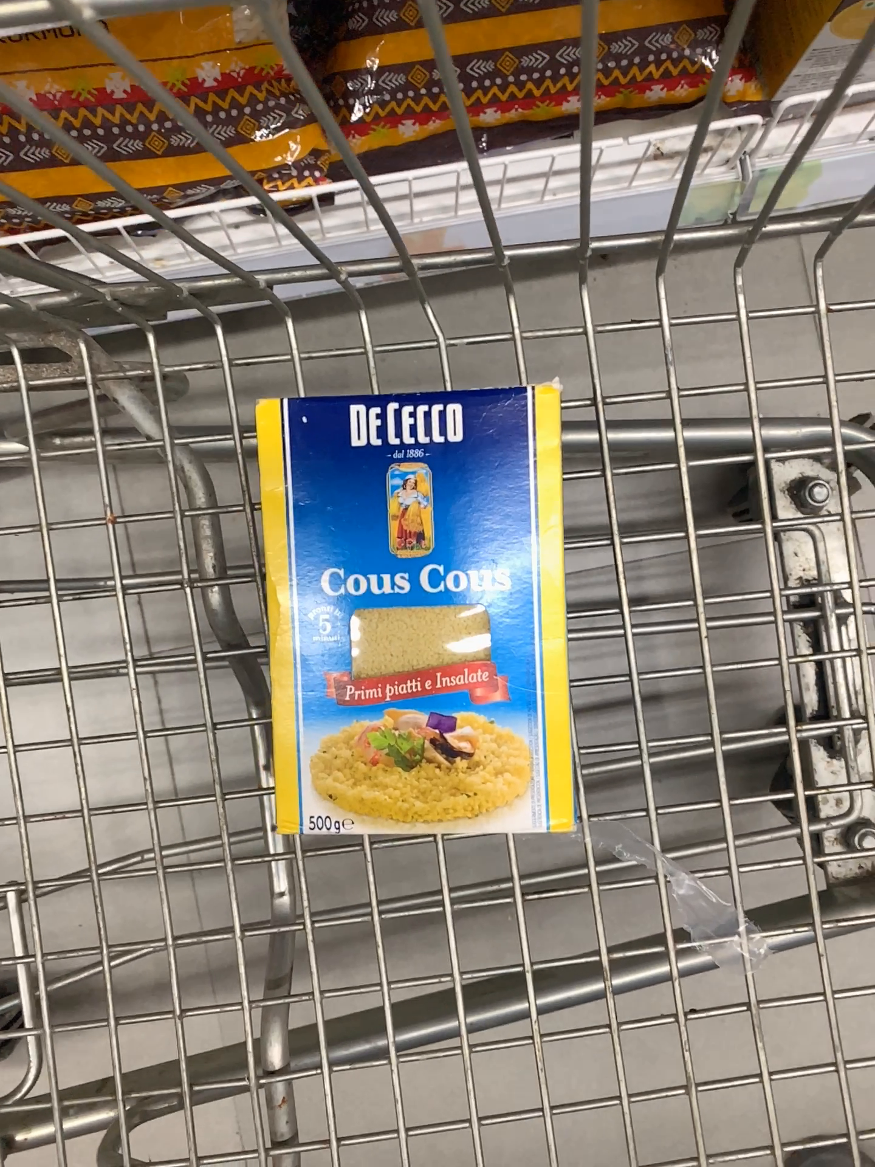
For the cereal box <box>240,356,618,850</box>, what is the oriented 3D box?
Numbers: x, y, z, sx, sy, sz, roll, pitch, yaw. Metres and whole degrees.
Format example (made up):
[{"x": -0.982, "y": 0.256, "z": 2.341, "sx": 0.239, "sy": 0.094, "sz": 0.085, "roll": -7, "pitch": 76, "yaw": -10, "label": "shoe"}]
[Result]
[{"x": -0.001, "y": 0.008, "z": 0.323, "sx": 0.120, "sy": 0.050, "sz": 0.160, "roll": -2, "pitch": 91, "yaw": 6, "label": "cereal box"}]
